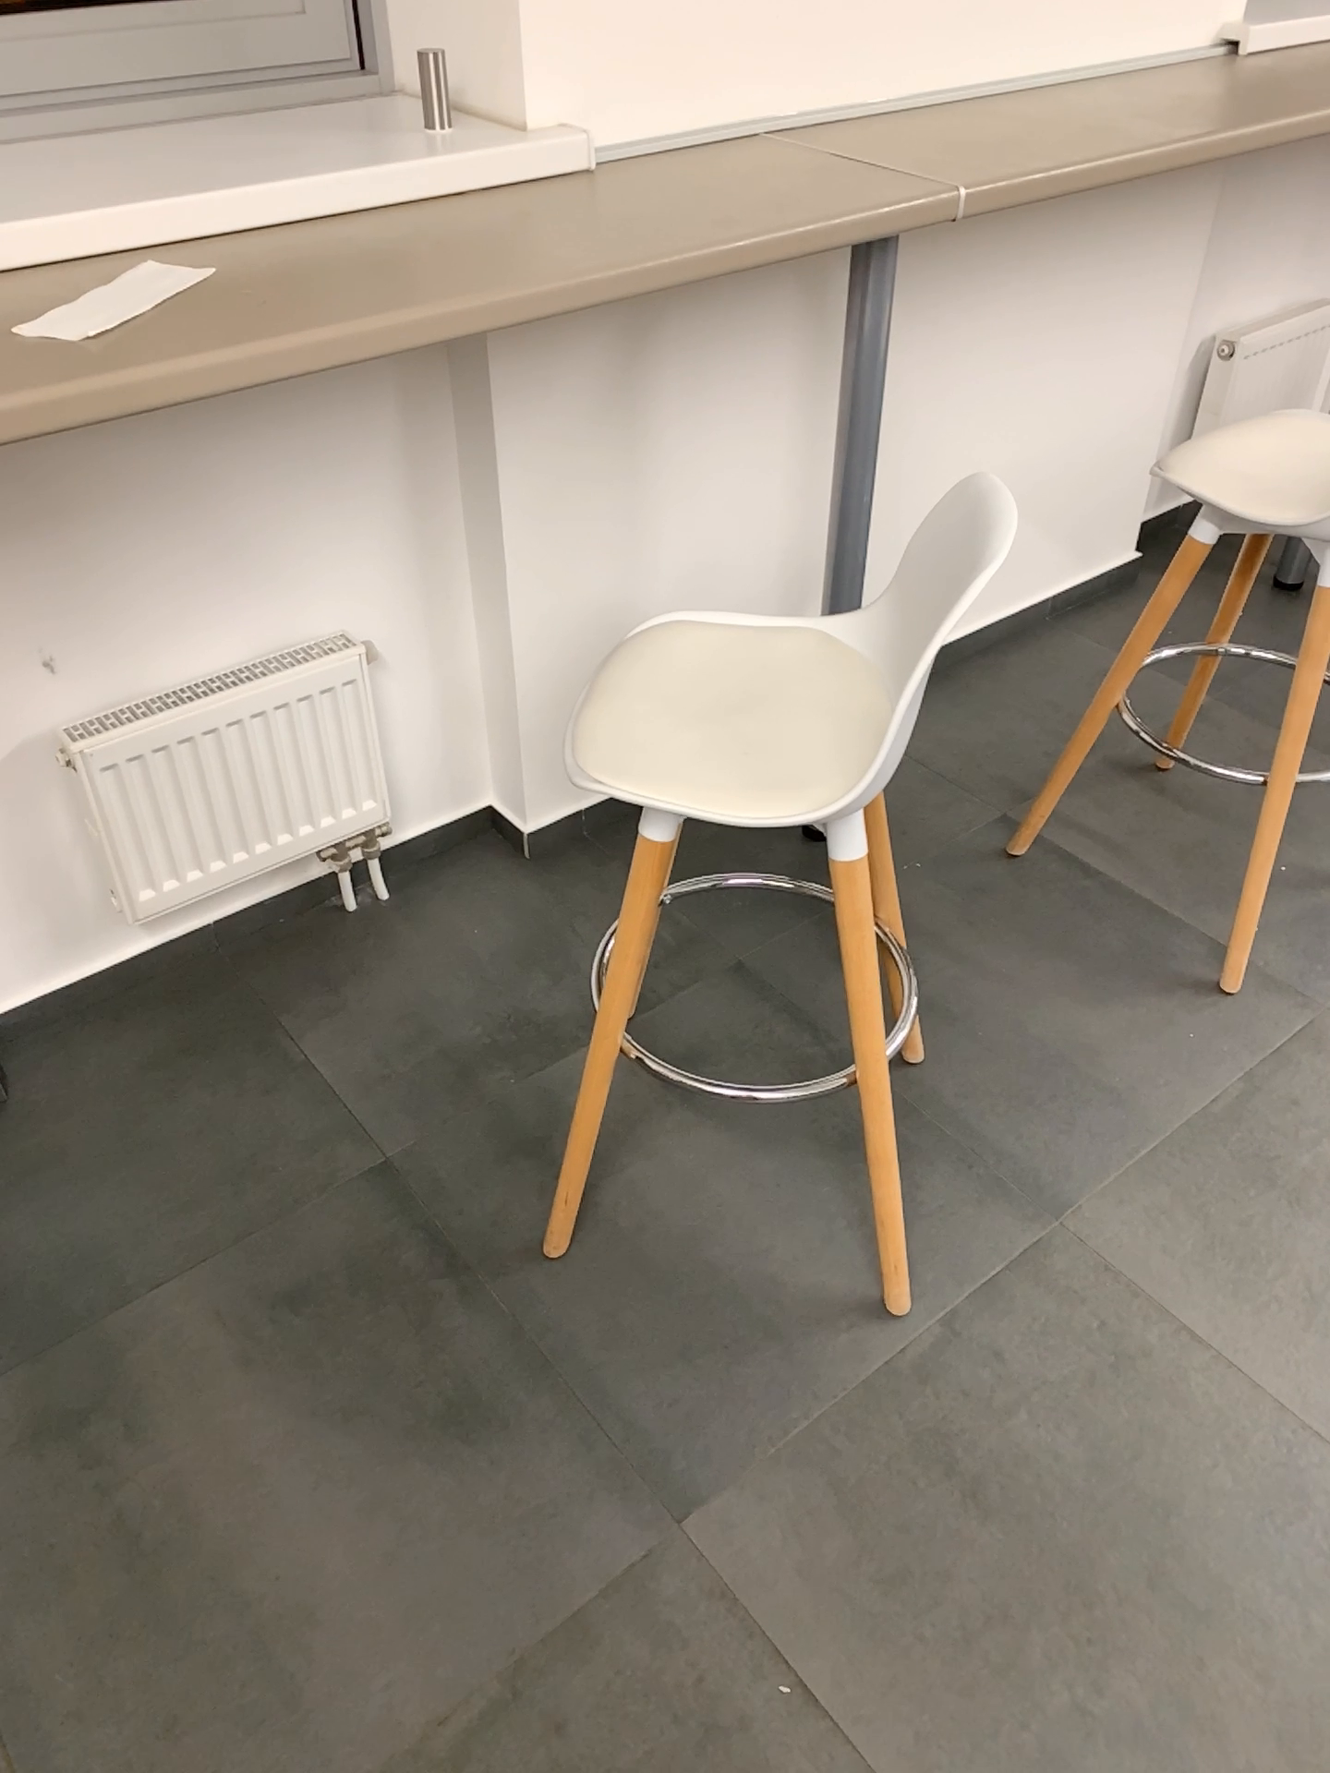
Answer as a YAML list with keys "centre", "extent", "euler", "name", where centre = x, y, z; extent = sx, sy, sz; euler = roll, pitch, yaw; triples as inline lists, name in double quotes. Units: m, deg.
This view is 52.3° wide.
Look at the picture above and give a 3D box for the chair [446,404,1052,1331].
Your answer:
- centre: [0.103, 0.000, 1.527]
  extent: [0.480, 0.885, 0.483]
  euler: [7, 40, 8]
  name: "chair"
